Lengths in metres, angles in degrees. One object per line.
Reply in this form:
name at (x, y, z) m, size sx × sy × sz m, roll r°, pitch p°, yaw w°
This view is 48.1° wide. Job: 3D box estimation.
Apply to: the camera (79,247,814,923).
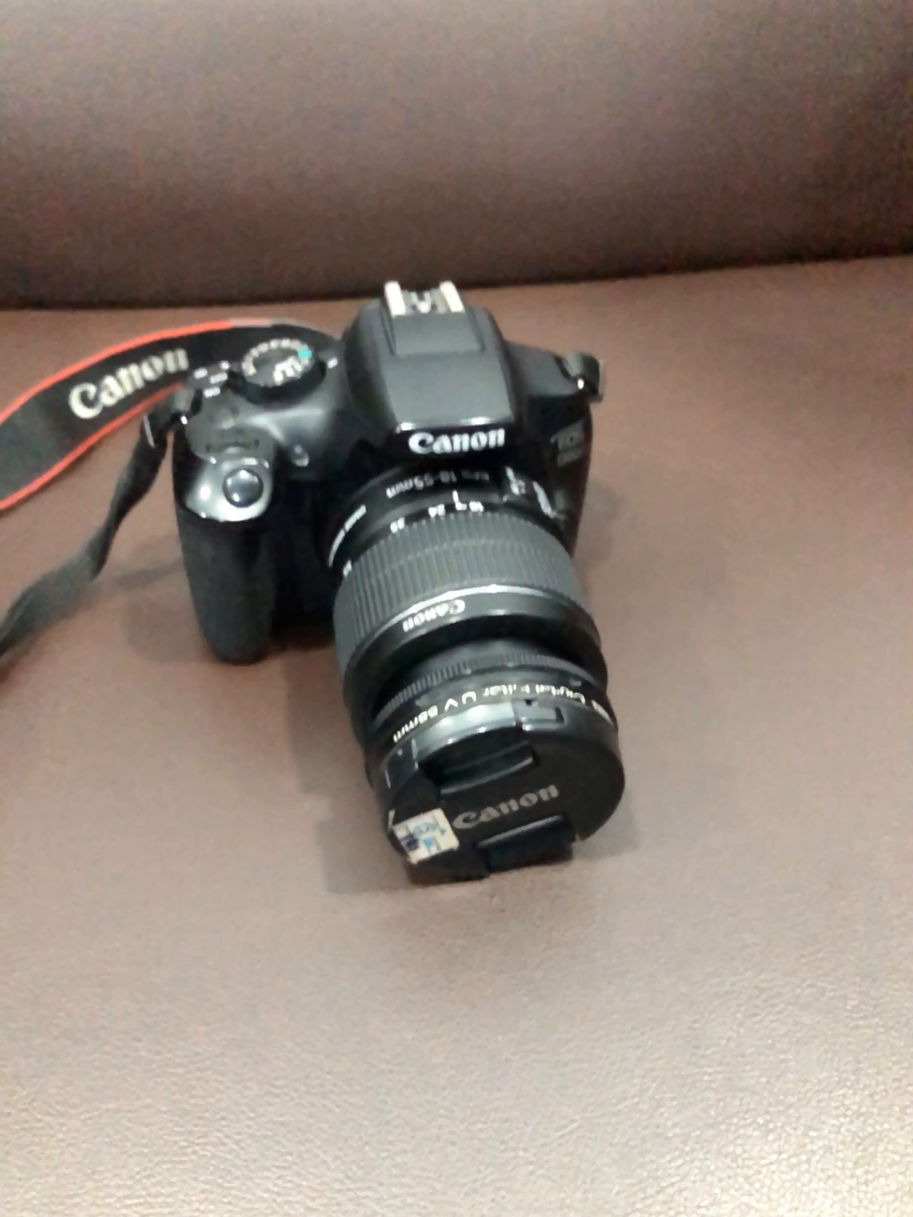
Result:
camera at (-0.010, -0.015, 0.260) m, size 0.130 × 0.089 × 0.141 m, roll -6°, pitch 43°, yaw -7°
